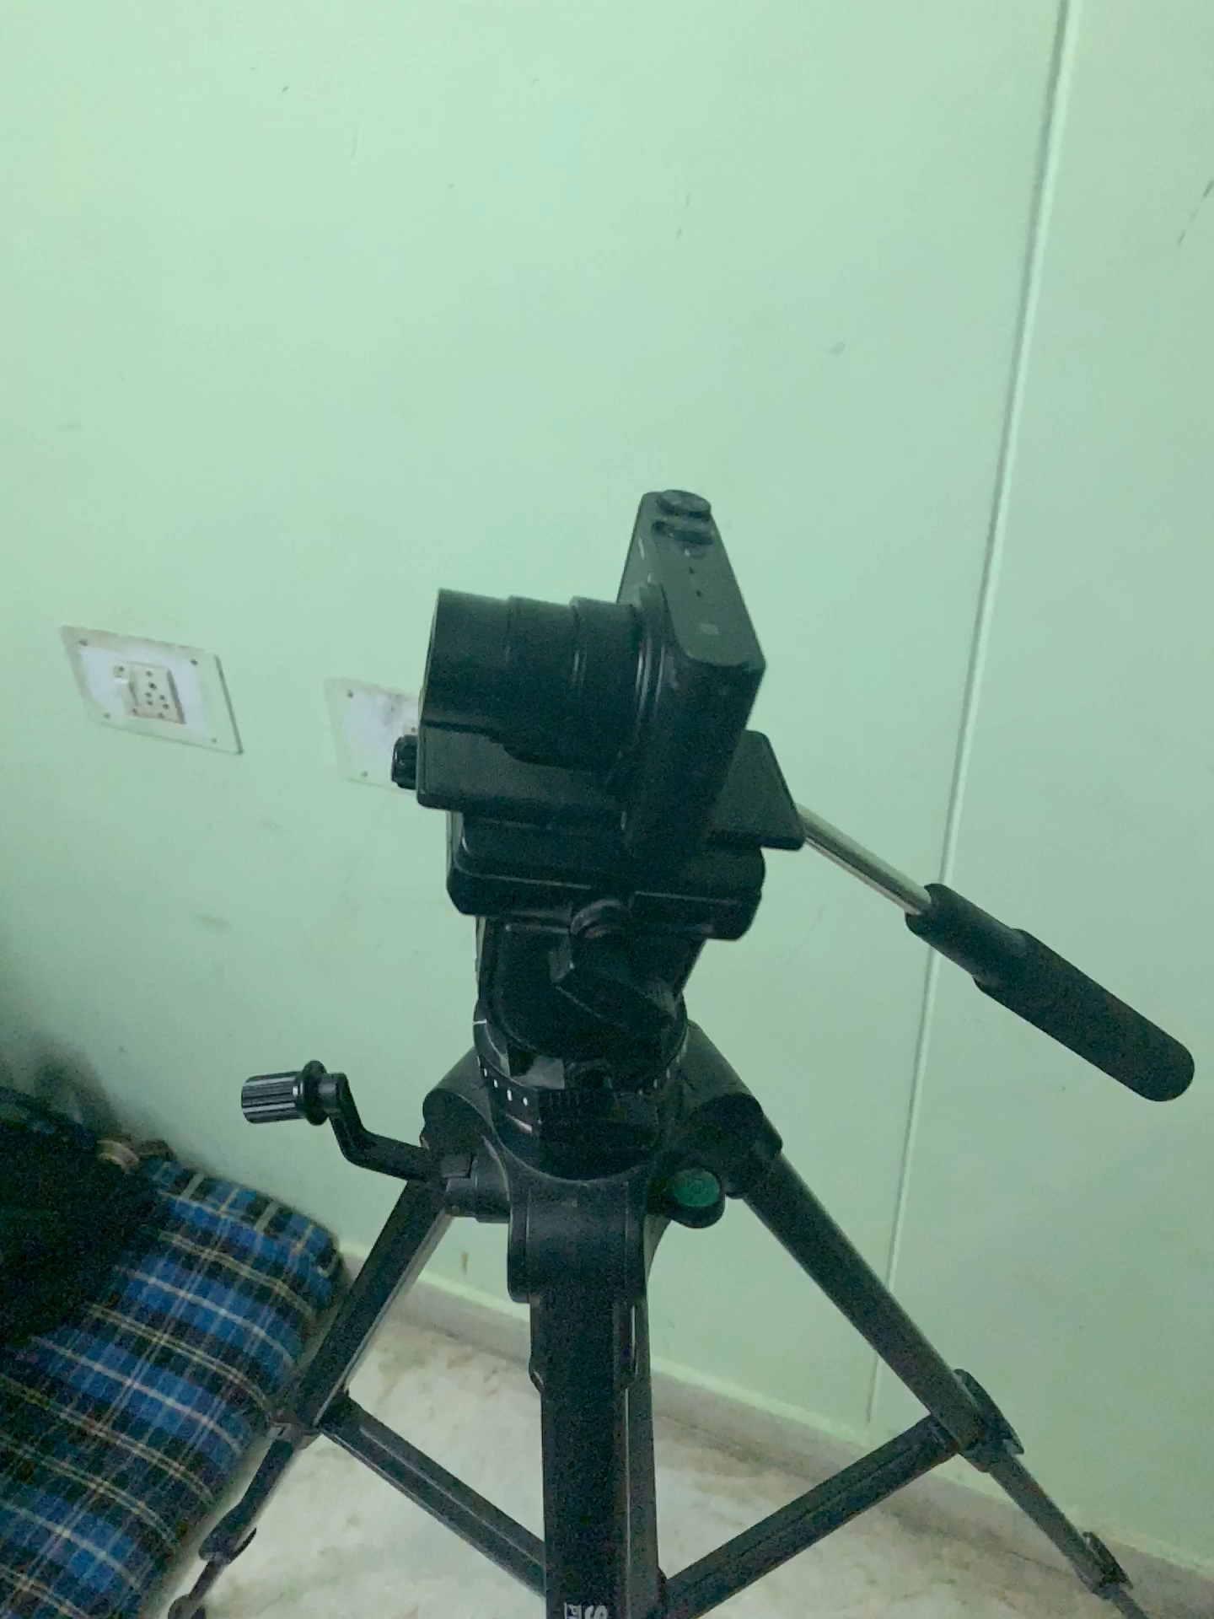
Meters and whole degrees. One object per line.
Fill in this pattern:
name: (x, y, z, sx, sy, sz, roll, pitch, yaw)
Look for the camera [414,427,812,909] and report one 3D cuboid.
camera: (-0.005, -0.037, 0.293, 0.067, 0.060, 0.103, 9, 33, -13)
